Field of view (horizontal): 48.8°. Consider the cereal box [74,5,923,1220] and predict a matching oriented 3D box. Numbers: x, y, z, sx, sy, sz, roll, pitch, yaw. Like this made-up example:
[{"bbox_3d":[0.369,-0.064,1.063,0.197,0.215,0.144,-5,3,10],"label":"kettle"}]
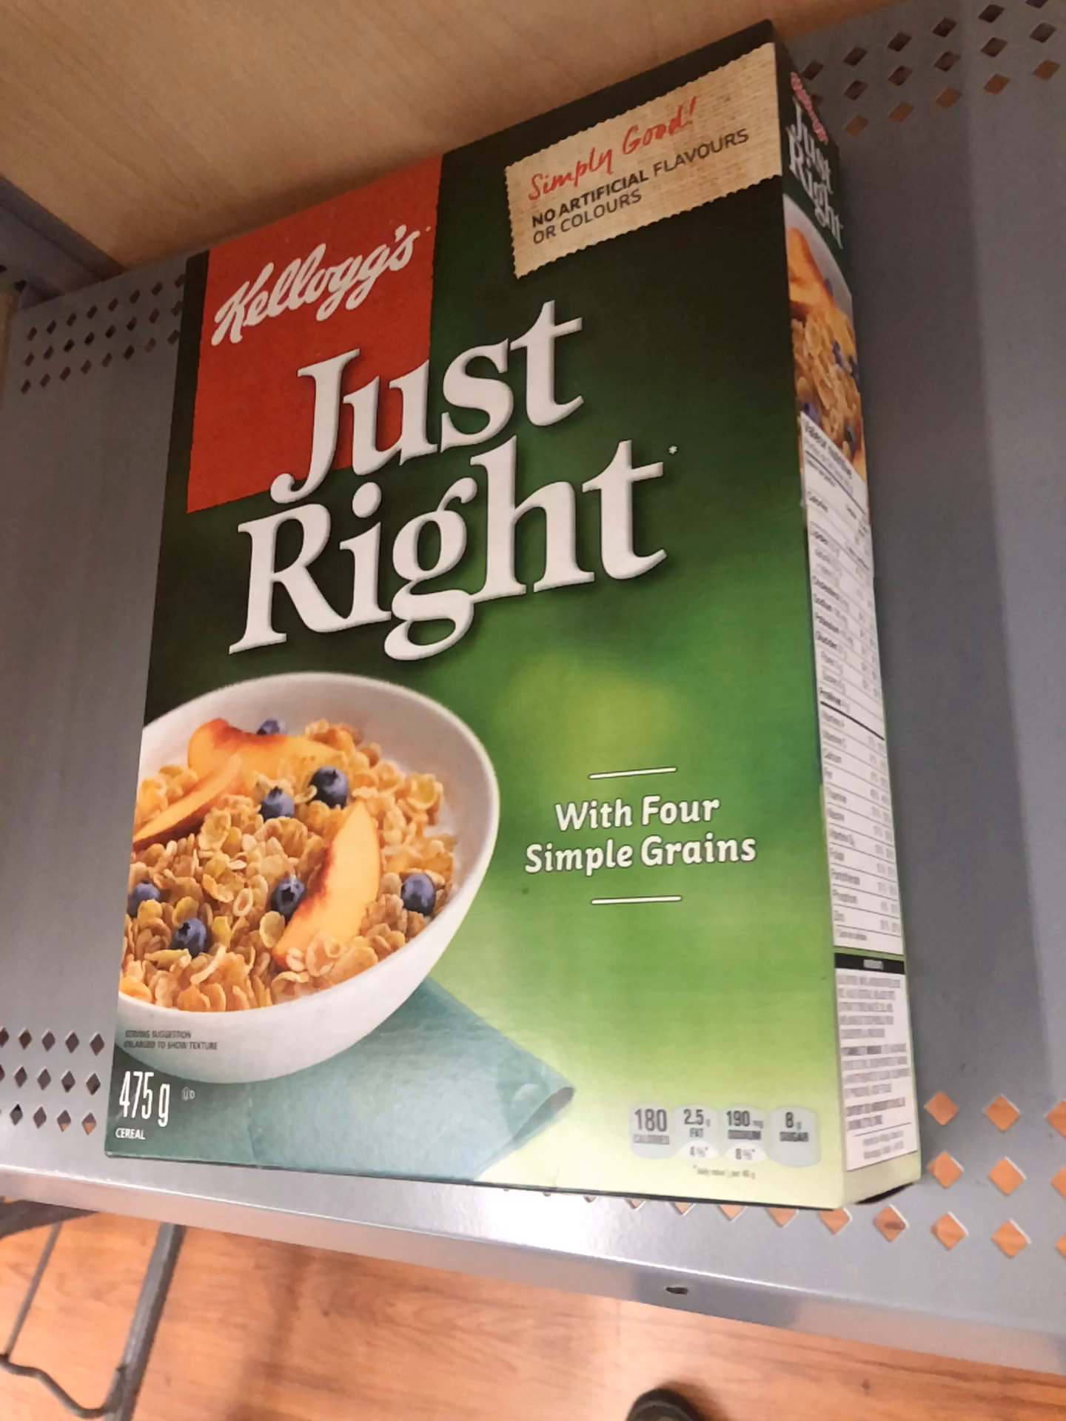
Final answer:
[{"bbox_3d":[-0.016,-0.020,0.318,0.201,0.060,0.270,-8,72,28],"label":"cereal box"}]
